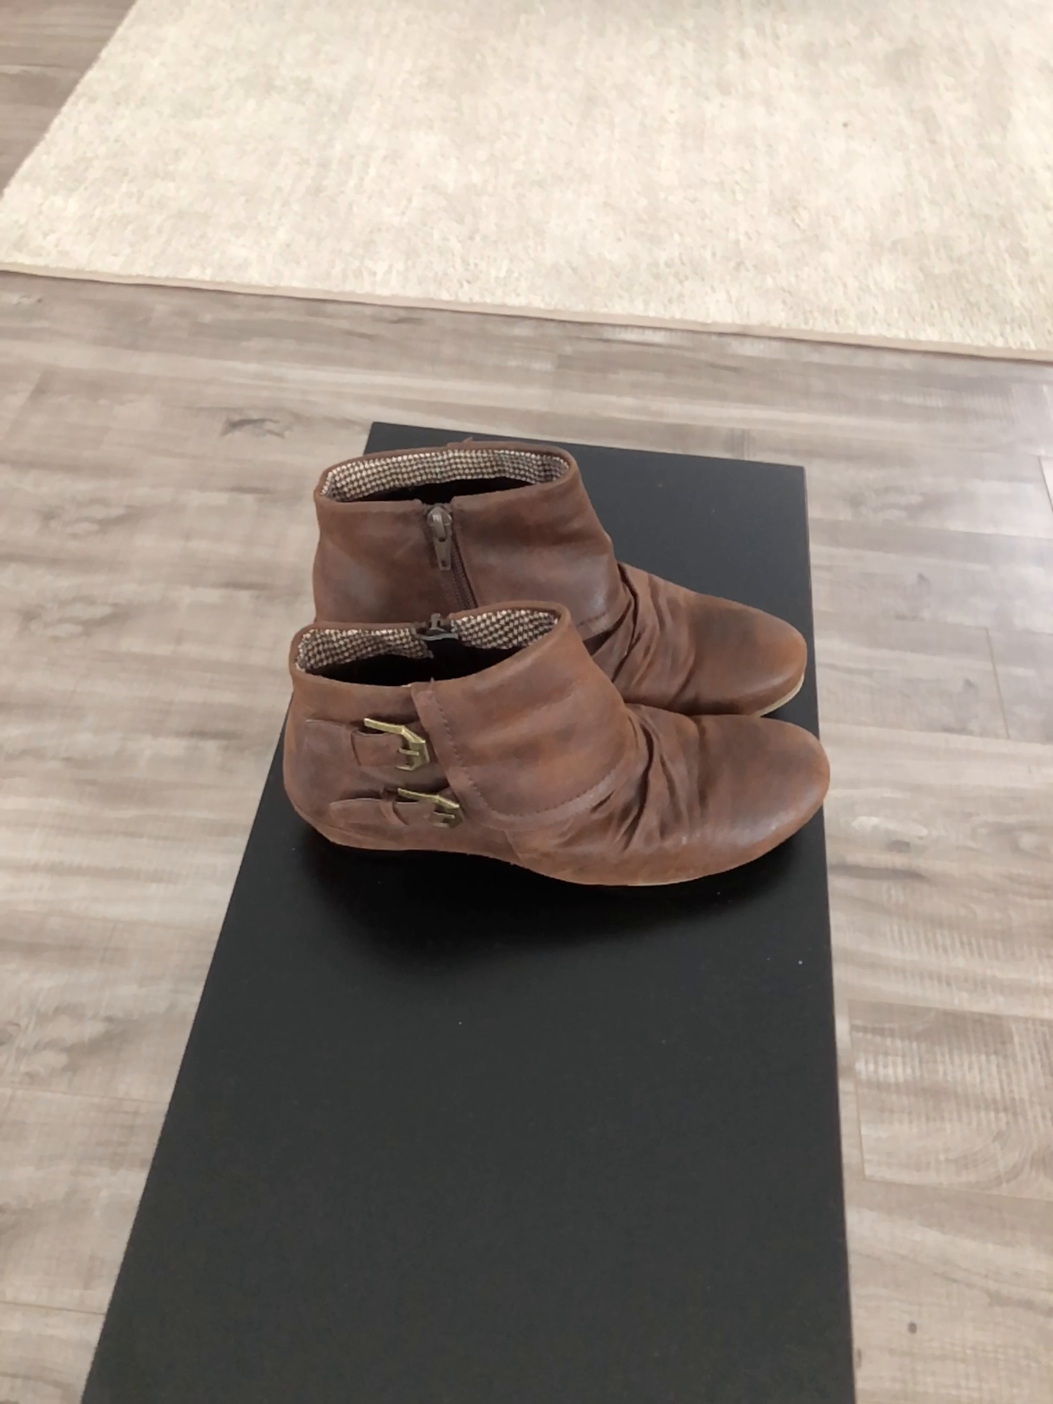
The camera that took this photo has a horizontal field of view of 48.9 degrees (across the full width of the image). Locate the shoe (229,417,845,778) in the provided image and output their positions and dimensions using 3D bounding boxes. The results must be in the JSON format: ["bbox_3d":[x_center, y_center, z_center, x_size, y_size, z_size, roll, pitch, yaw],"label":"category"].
[{"bbox_3d":[0.005,-0.045,0.521,0.240,0.110,0.090,5,52,2],"label":"shoe"}]

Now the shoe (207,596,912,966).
[{"bbox_3d":[0.009,0.035,0.472,0.240,0.130,0.090,-1,52,-3],"label":"shoe"}]
